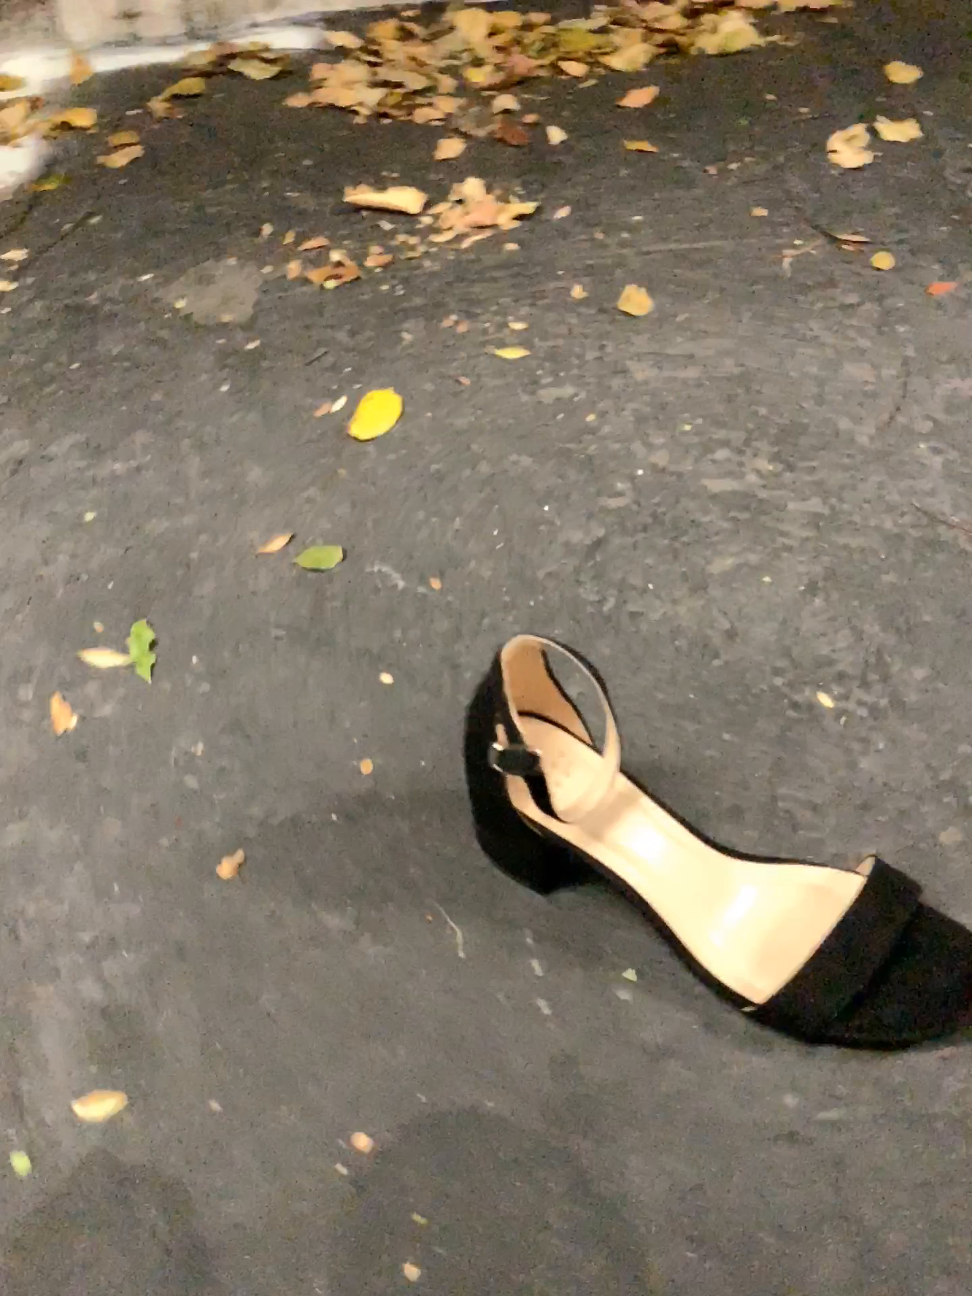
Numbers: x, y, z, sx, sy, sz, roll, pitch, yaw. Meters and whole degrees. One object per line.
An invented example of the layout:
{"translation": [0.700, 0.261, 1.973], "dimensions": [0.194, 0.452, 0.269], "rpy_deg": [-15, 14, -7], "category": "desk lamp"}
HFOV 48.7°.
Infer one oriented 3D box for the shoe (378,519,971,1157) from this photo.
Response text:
{"translation": [0.110, 0.069, 0.453], "dimensions": [0.270, 0.140, 0.120], "rpy_deg": [19, 51, 22], "category": "shoe"}
